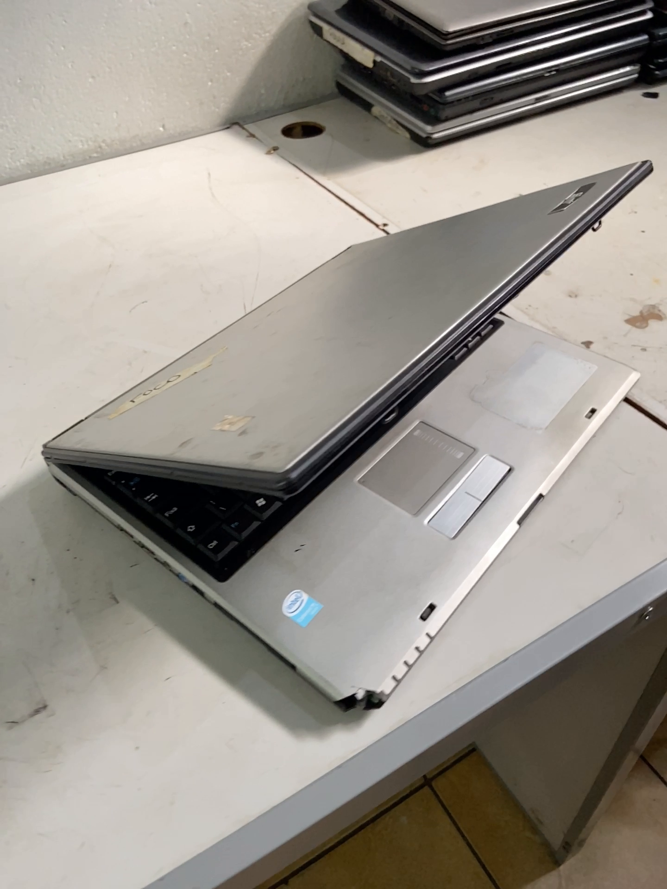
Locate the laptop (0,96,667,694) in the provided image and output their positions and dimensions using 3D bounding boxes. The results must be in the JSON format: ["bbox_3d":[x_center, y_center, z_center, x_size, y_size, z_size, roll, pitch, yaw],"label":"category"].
[{"bbox_3d":[0.016,-0.069,0.424,0.254,0.130,0.318,31,56,28],"label":"laptop"}]
